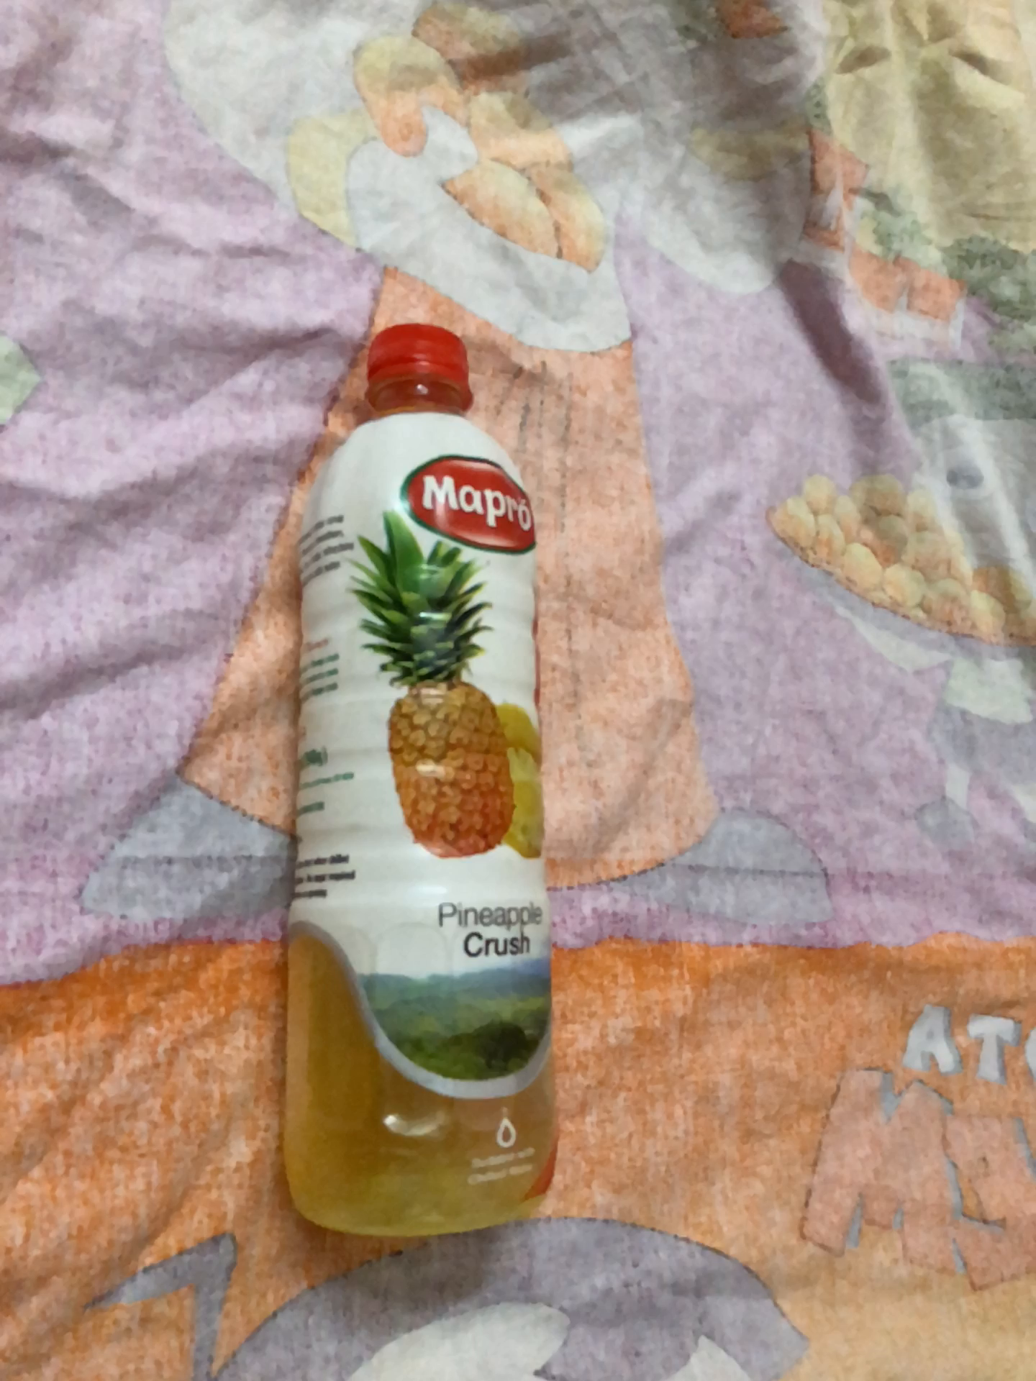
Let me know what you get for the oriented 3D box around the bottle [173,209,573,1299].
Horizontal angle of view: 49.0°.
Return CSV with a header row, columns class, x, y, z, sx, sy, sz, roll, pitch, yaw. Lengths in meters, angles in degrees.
class,x,y,z,sx,sy,sz,roll,pitch,yaw
bottle,-0.035,0.013,0.308,0.080,0.060,0.250,8,78,-38
